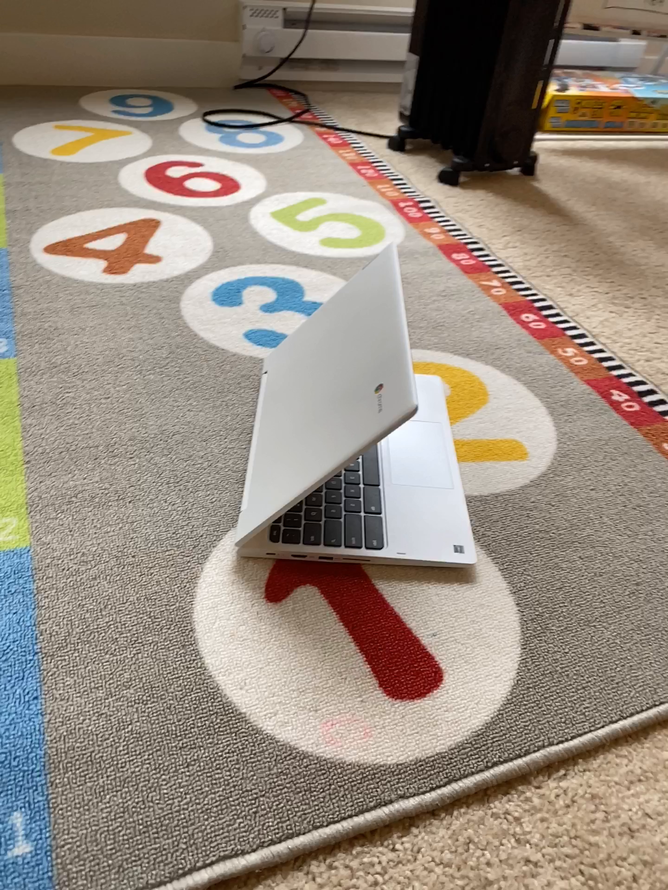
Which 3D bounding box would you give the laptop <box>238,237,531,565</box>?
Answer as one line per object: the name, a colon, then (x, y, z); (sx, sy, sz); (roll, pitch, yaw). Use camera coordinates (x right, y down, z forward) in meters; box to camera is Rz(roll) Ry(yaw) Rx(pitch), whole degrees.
laptop: (0.032, -0.058, 0.663); (0.216, 0.162, 0.300); (4, 39, -3)
